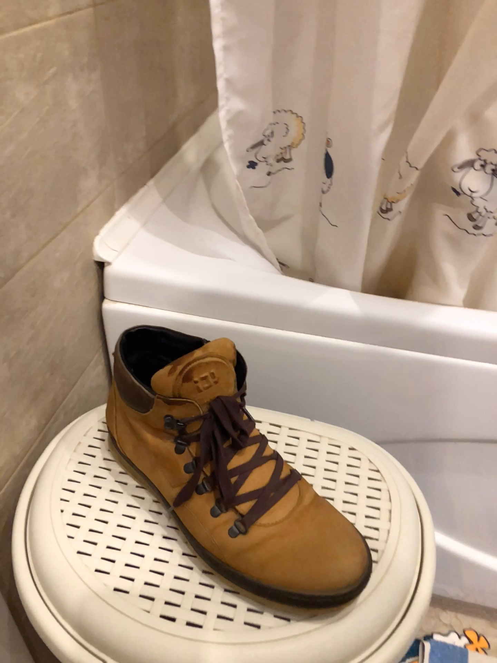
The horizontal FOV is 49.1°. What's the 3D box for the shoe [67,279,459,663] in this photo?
[{"bbox_3d":[-0.007,0.104,0.457,0.291,0.169,0.111,30,46,31],"label":"shoe"}]
